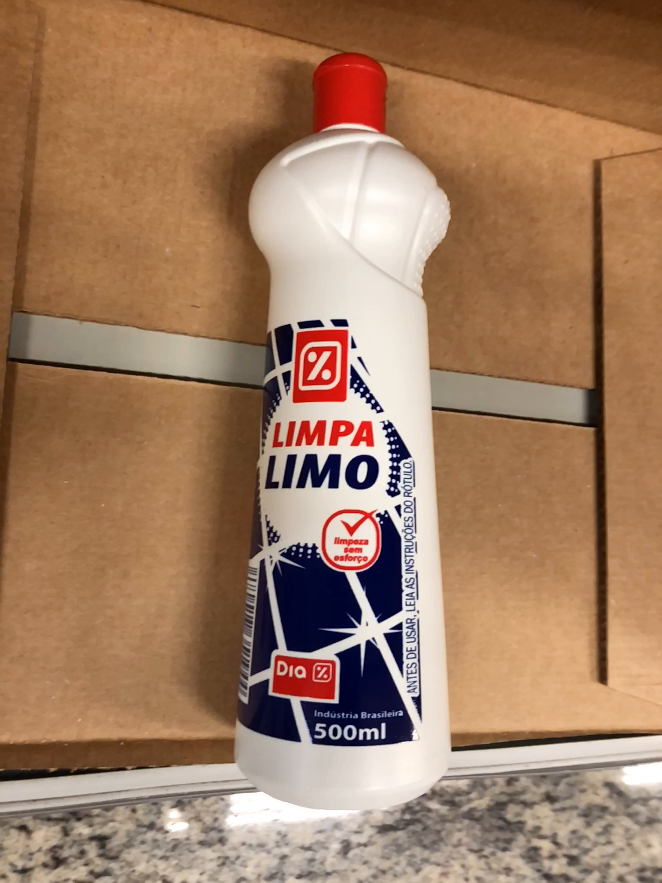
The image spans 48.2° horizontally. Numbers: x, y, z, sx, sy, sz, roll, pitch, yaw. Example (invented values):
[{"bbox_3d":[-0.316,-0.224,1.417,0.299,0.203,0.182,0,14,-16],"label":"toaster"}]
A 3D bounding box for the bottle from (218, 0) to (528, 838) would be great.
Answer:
[{"bbox_3d":[0.010,-0.026,0.239,0.080,0.060,0.260,2,85,-17],"label":"bottle"}]
